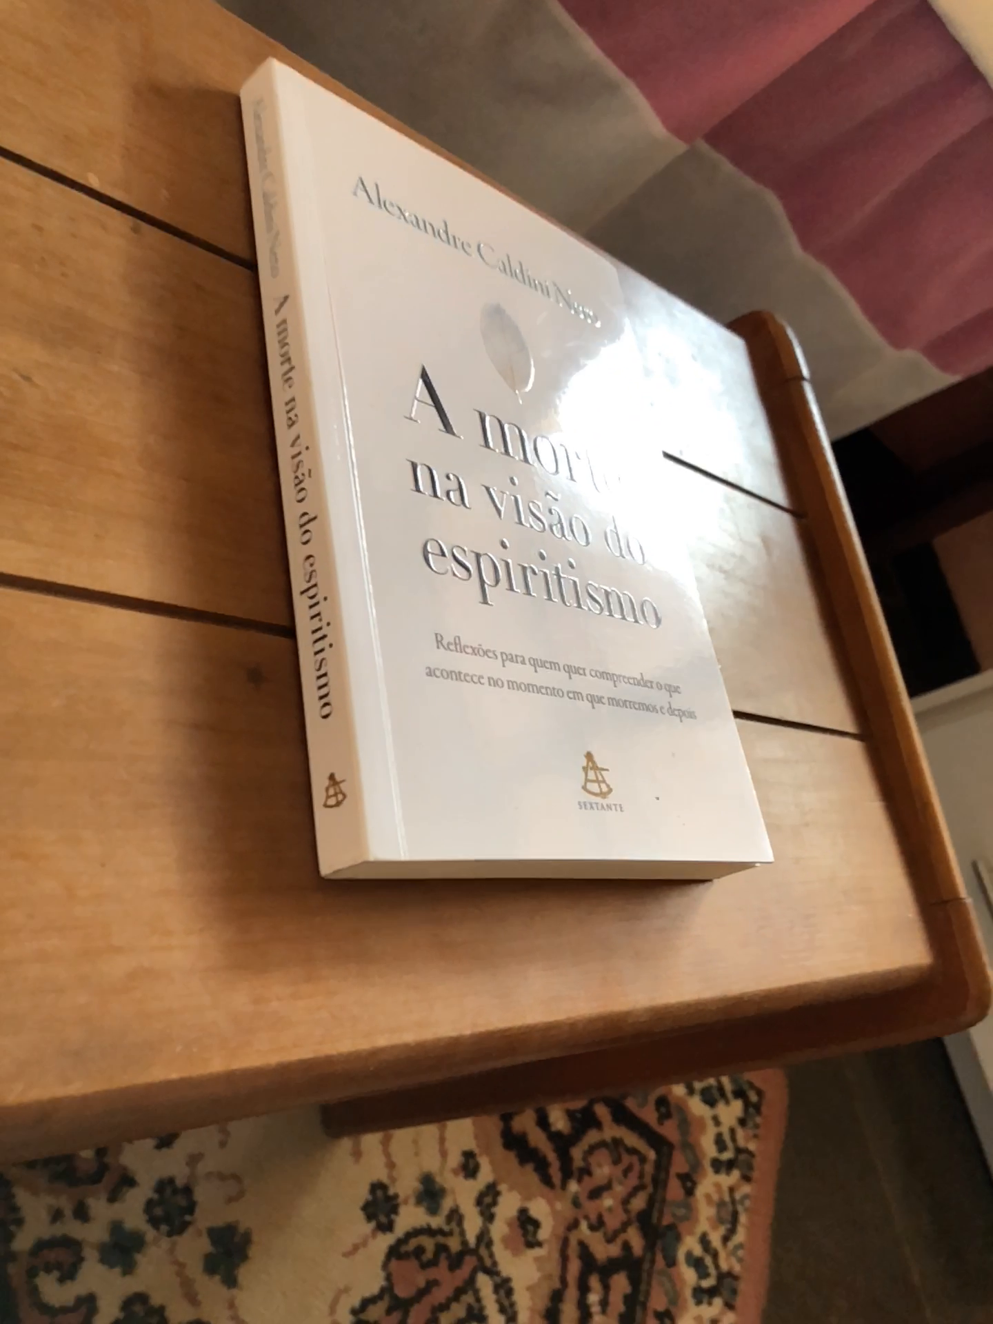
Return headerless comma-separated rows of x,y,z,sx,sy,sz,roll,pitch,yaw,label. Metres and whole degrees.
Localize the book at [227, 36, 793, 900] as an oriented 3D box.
0.005,-0.042,0.276,0.136,0.020,0.196,11,61,-44,book
